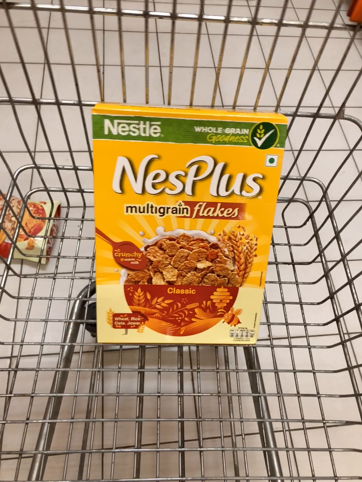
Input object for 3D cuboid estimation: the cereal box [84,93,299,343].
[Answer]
[{"bbox_3d":[0.001,-0.022,0.435,0.190,0.249,0.090,2,19,-5],"label":"cereal box"}]
